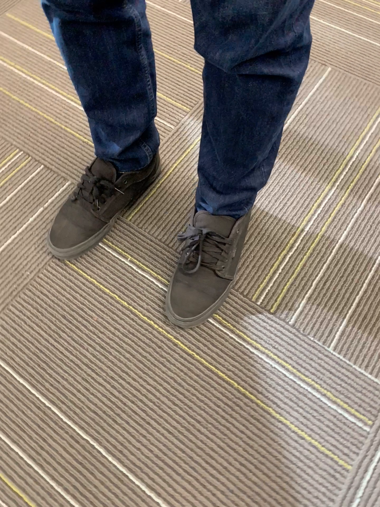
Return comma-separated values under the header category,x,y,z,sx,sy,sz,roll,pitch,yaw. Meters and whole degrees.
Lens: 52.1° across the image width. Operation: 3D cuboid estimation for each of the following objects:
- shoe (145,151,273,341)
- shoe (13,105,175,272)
category,x,y,z,sx,sy,sz,roll,pitch,yaw
shoe,0.039,-0.017,0.673,0.109,0.113,0.291,19,66,10
shoe,-0.163,-0.125,0.729,0.109,0.113,0.291,33,70,16
